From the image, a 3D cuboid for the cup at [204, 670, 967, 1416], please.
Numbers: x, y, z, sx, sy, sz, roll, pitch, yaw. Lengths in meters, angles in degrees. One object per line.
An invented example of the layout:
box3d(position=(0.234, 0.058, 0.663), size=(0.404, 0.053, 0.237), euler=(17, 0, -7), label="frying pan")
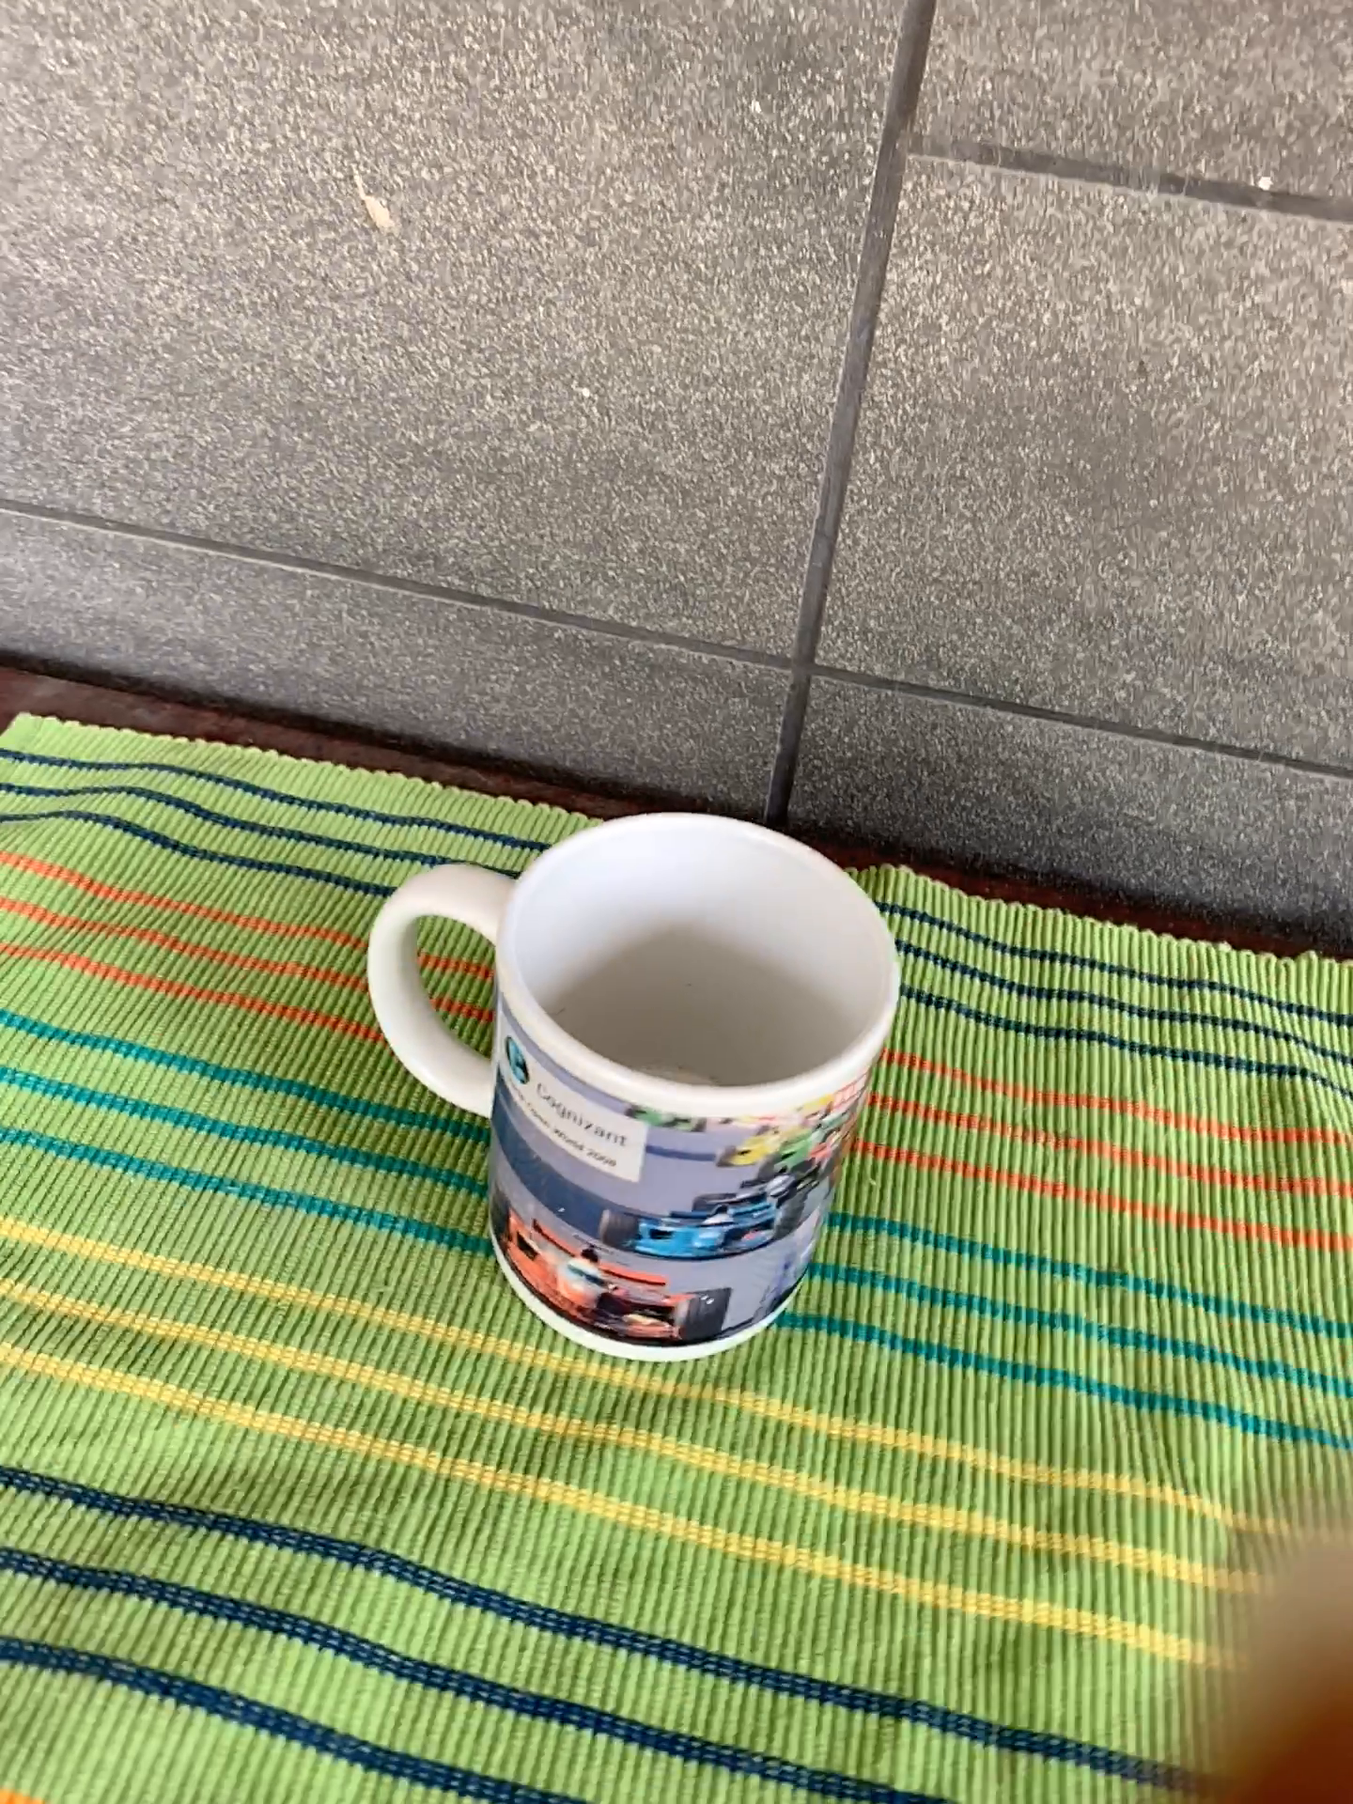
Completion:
box3d(position=(-0.020, 0.029, 0.310), size=(0.130, 0.100, 0.080), euler=(20, 43, 11), label="cup")
